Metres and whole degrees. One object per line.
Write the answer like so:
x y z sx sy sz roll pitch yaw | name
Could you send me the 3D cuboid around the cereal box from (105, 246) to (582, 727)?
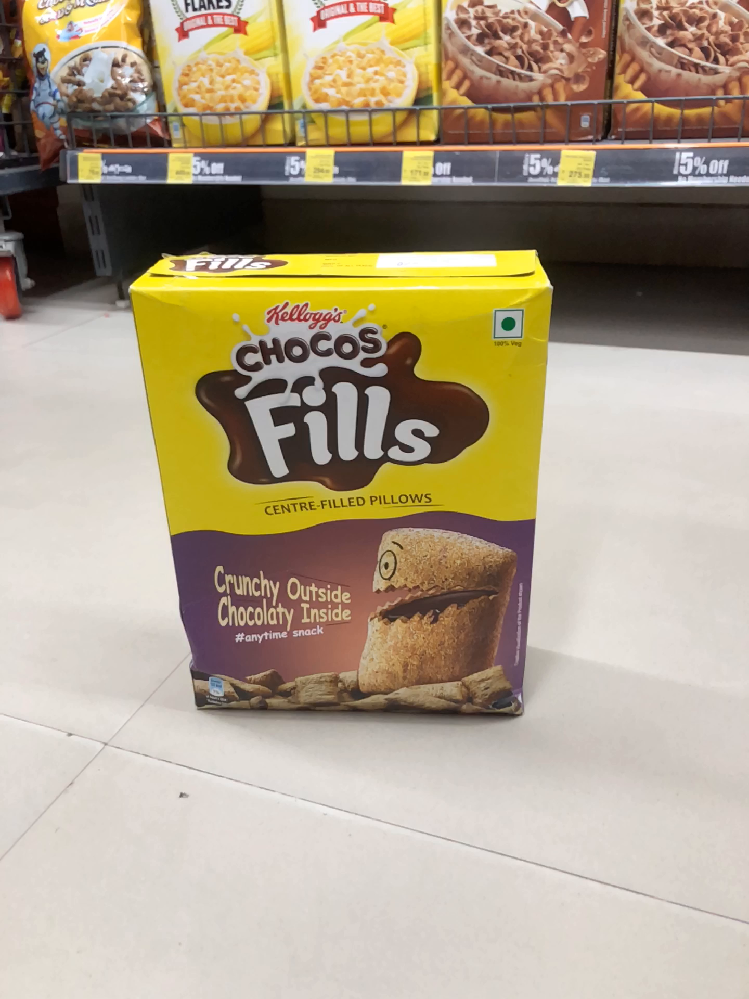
-0.007 -0.004 0.411 0.190 0.219 0.080 1 27 6 | cereal box
